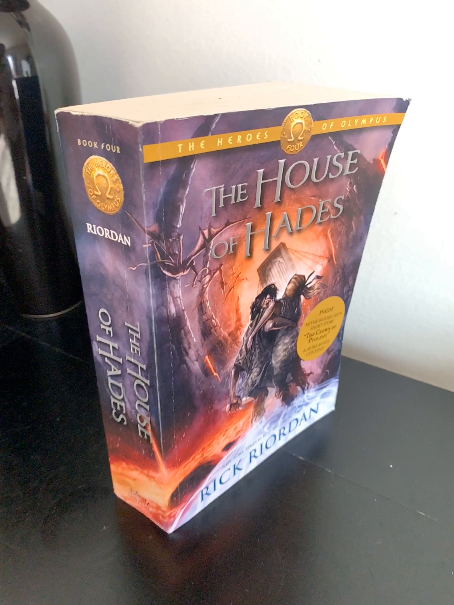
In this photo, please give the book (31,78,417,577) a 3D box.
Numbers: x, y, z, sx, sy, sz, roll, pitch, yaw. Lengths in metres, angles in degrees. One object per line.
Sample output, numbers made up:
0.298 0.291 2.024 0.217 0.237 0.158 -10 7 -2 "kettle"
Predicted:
0.009 -0.004 0.225 0.077 0.176 0.145 21 34 31 "book"
